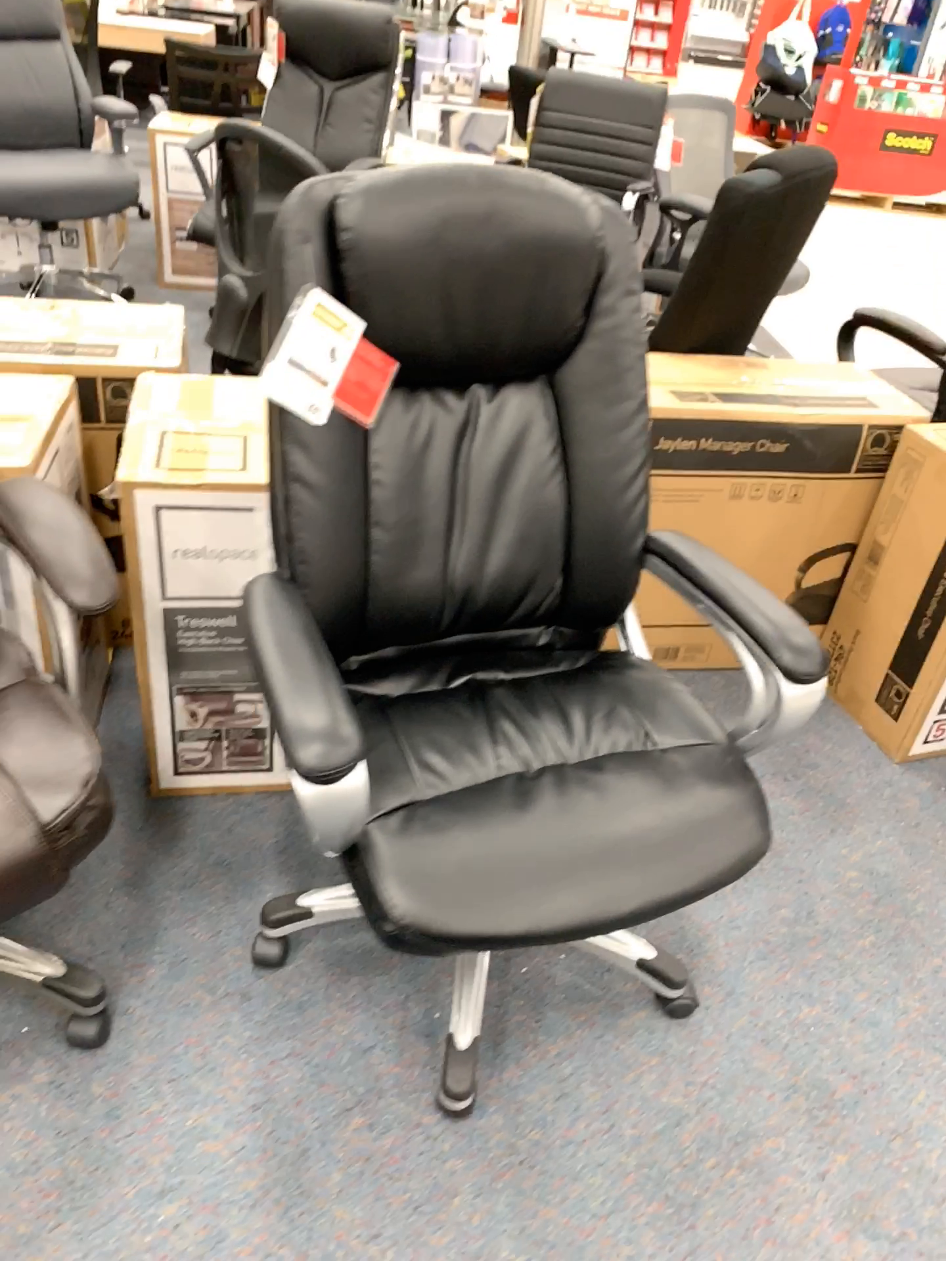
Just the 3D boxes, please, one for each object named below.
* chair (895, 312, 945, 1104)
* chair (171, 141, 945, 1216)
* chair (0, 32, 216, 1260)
[{"bbox_3d":[1.384,0.067,1.539,0.838,0.926,0.667,-7,37,-21],"label":"chair"},{"bbox_3d":[0.049,0.037,1.237,0.675,1.055,0.660,-9,38,-22],"label":"chair"},{"bbox_3d":[-0.820,0.022,1.075,0.755,1.045,0.790,-17,41,-31],"label":"chair"}]
